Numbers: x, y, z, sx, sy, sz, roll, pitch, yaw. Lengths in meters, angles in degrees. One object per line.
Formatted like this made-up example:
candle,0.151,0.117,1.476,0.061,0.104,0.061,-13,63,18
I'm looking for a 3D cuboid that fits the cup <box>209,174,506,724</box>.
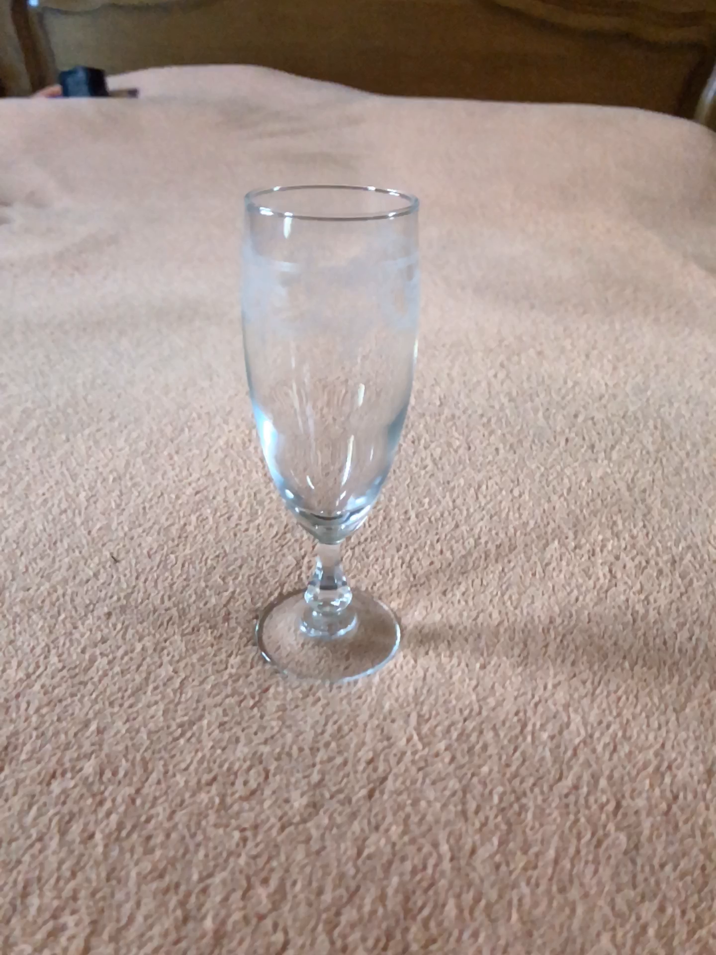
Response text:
cup,-0.004,-0.010,0.260,0.060,0.159,0.060,2,26,-1
